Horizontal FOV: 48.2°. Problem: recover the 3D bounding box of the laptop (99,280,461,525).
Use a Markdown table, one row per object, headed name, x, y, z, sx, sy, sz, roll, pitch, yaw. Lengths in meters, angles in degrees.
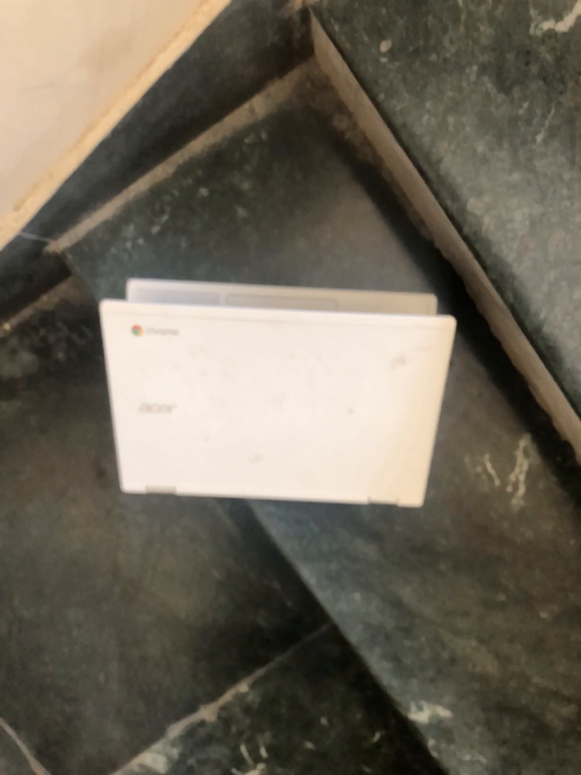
| name | x | y | z | sx | sy | sz | roll | pitch | yaw |
| --- | --- | --- | --- | --- | --- | --- | --- | --- | --- |
| laptop | -0.010 | 0.011 | 0.570 | 0.282 | 0.091 | 0.190 | 2 | 101 | -1 |
